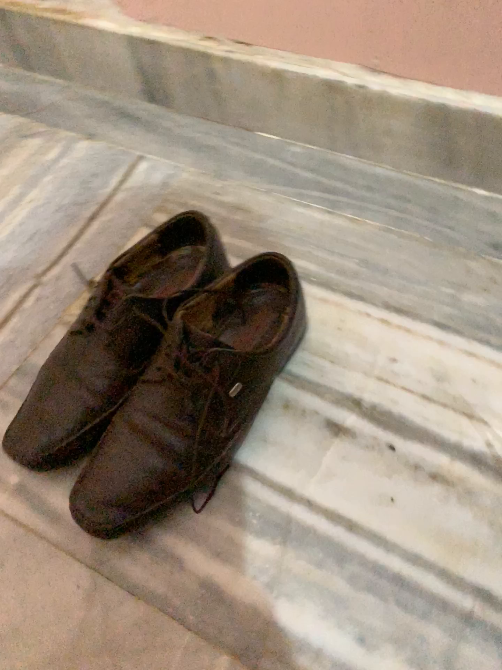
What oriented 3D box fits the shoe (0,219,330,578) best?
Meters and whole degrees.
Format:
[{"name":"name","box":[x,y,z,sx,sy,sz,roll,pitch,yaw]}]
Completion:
[{"name":"shoe","box":[-0.050,0.044,0.446,0.100,0.110,0.282,29,63,21]}]

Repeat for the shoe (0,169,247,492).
[{"name":"shoe","box":[-0.130,-0.014,0.482,0.100,0.110,0.282,29,63,21]}]
